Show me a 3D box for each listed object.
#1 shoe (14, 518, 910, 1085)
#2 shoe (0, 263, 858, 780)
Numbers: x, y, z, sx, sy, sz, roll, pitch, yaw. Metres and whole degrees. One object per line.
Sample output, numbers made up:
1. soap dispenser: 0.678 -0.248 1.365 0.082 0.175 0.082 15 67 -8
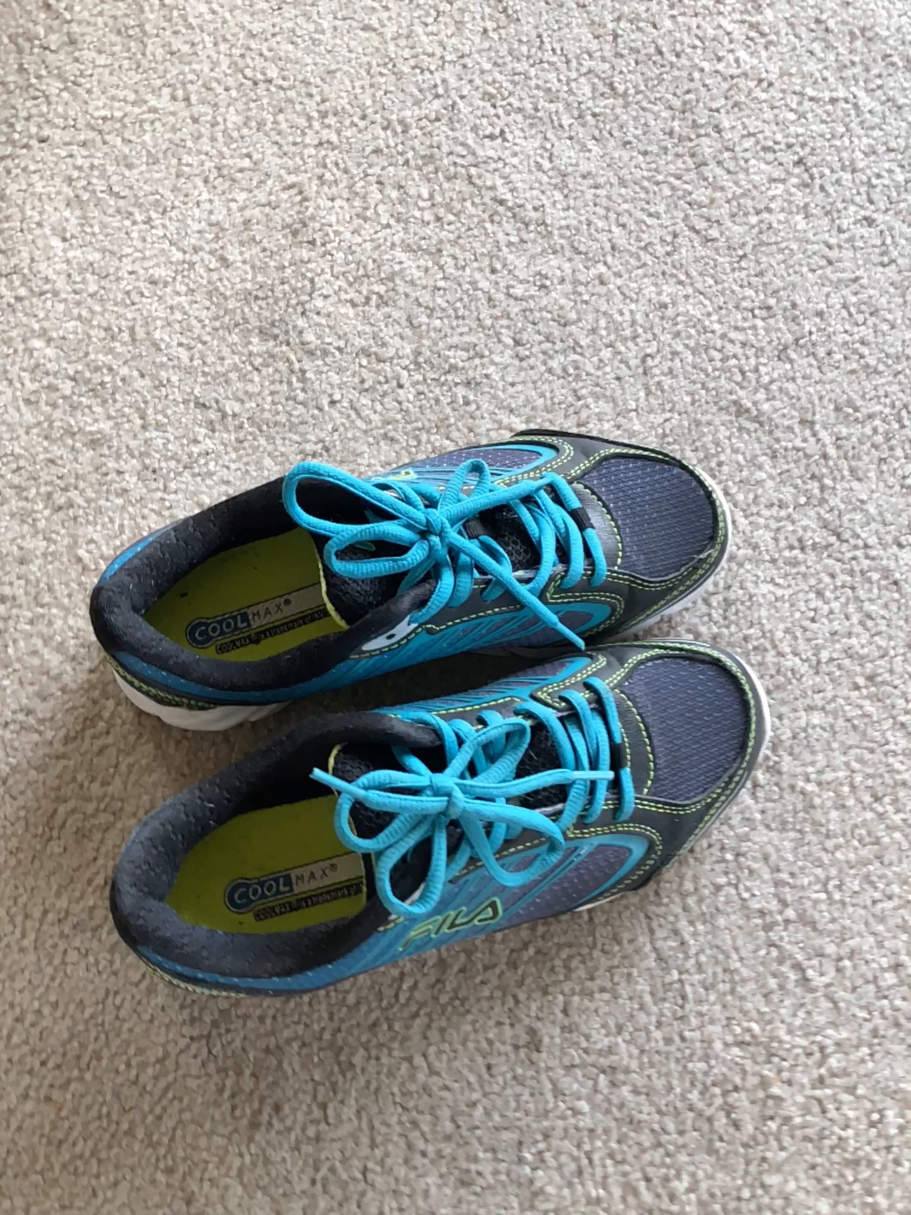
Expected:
1. shoe: 0.006 0.070 0.367 0.271 0.119 0.105 -15 74 -4
2. shoe: -0.012 -0.026 0.395 0.274 0.119 0.102 -16 76 -5
